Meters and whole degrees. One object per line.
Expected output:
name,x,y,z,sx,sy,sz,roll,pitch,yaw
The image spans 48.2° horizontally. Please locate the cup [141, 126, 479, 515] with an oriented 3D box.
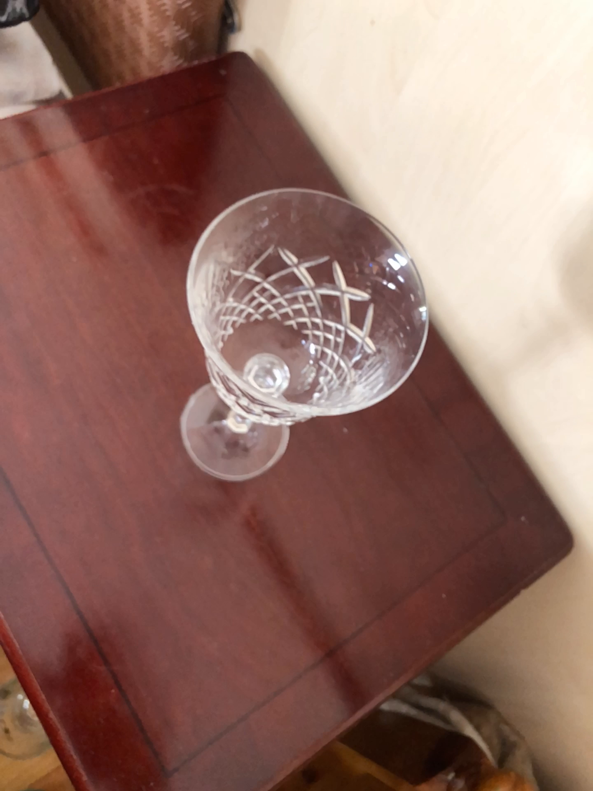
cup,-0.009,-0.019,0.323,0.091,0.171,0.092,5,70,-13
